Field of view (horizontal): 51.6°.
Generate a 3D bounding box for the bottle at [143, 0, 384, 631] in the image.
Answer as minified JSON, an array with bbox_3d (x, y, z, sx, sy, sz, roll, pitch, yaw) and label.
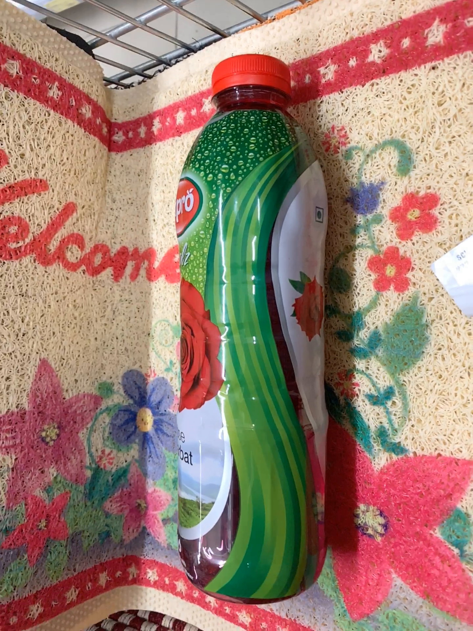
[{"bbox_3d":[0.009,-0.005,0.228,0.080,0.080,0.250,-173,81,-66],"label":"bottle"}]
